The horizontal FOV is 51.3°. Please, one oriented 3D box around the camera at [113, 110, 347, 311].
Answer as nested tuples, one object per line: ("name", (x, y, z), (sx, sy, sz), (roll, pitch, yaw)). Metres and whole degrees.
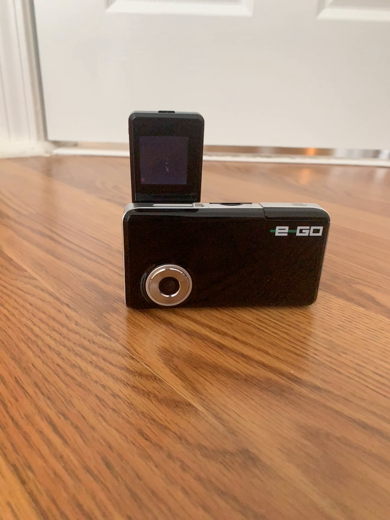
("camera", (0.017, -0.025, 0.234), (0.118, 0.111, 0.022), (0, 23, -5))
